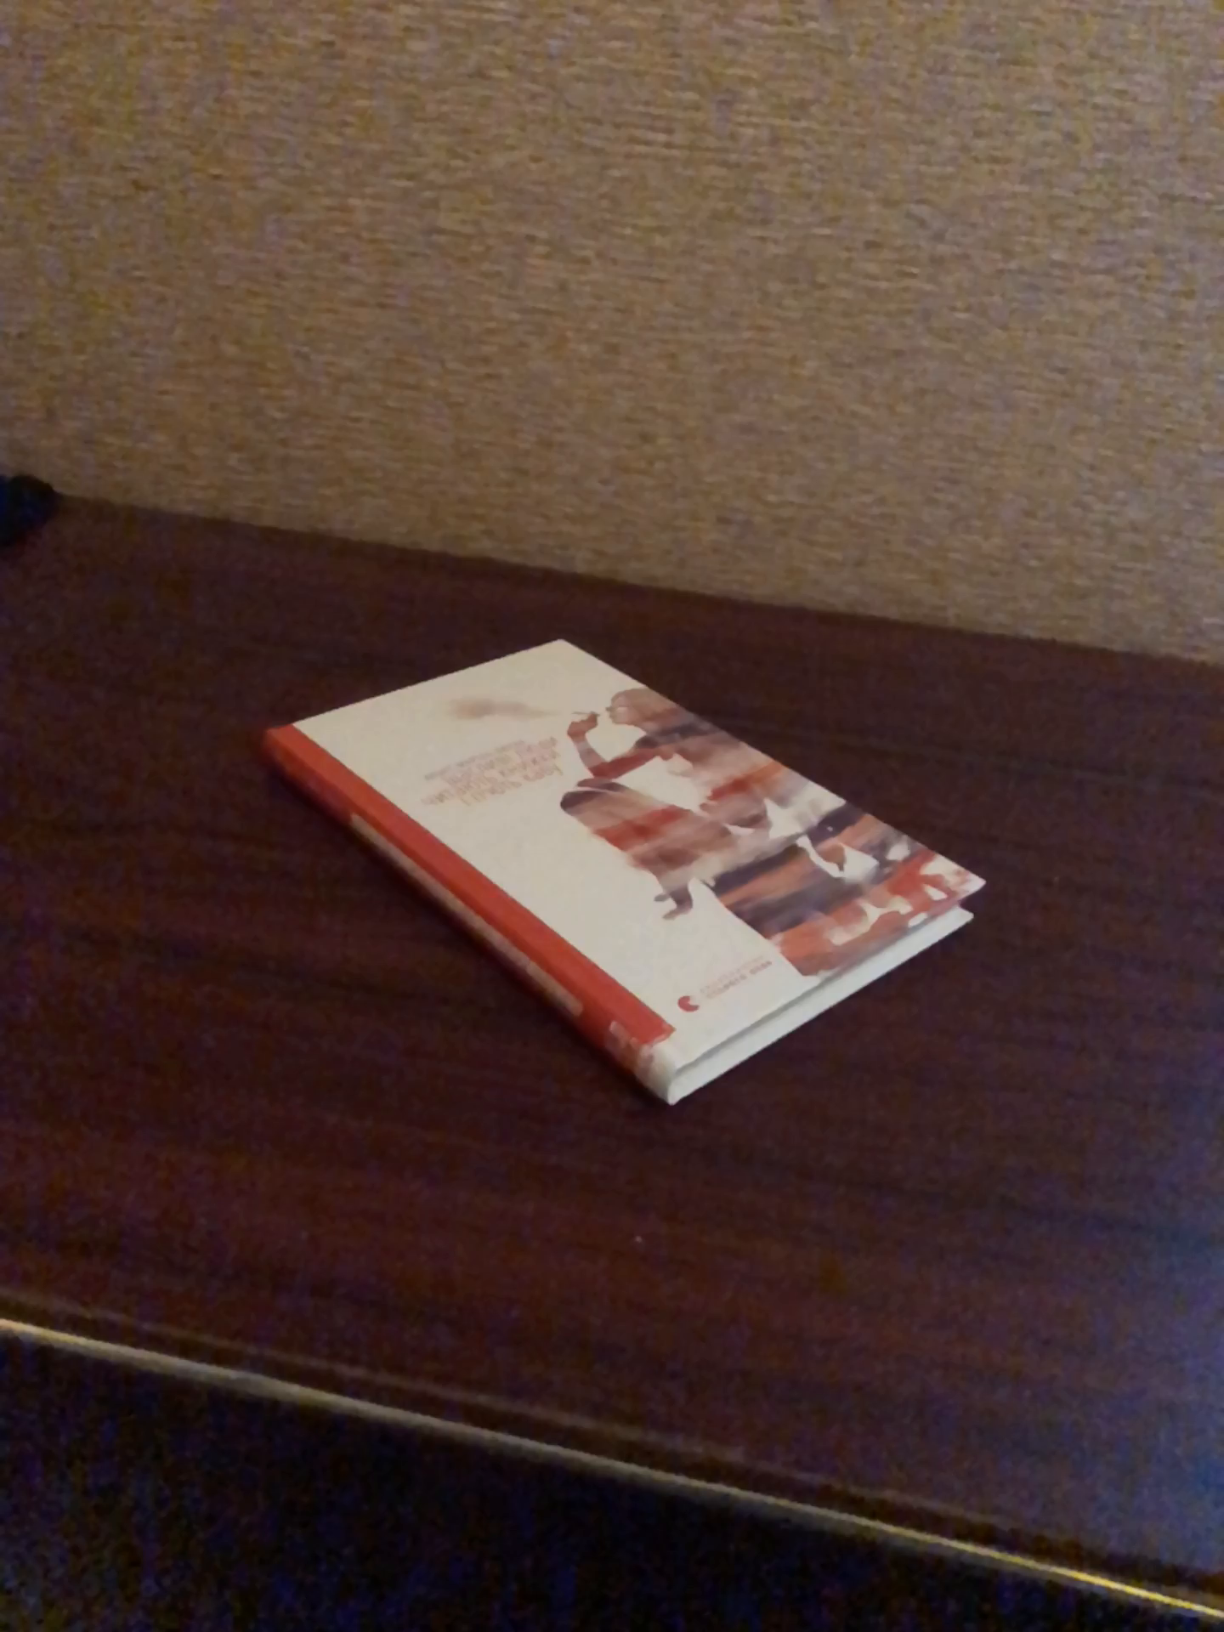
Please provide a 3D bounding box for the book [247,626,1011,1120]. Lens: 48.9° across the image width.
[{"bbox_3d":[-0.001,0.000,0.469,0.151,0.020,0.228,-23,41,-37],"label":"book"}]
